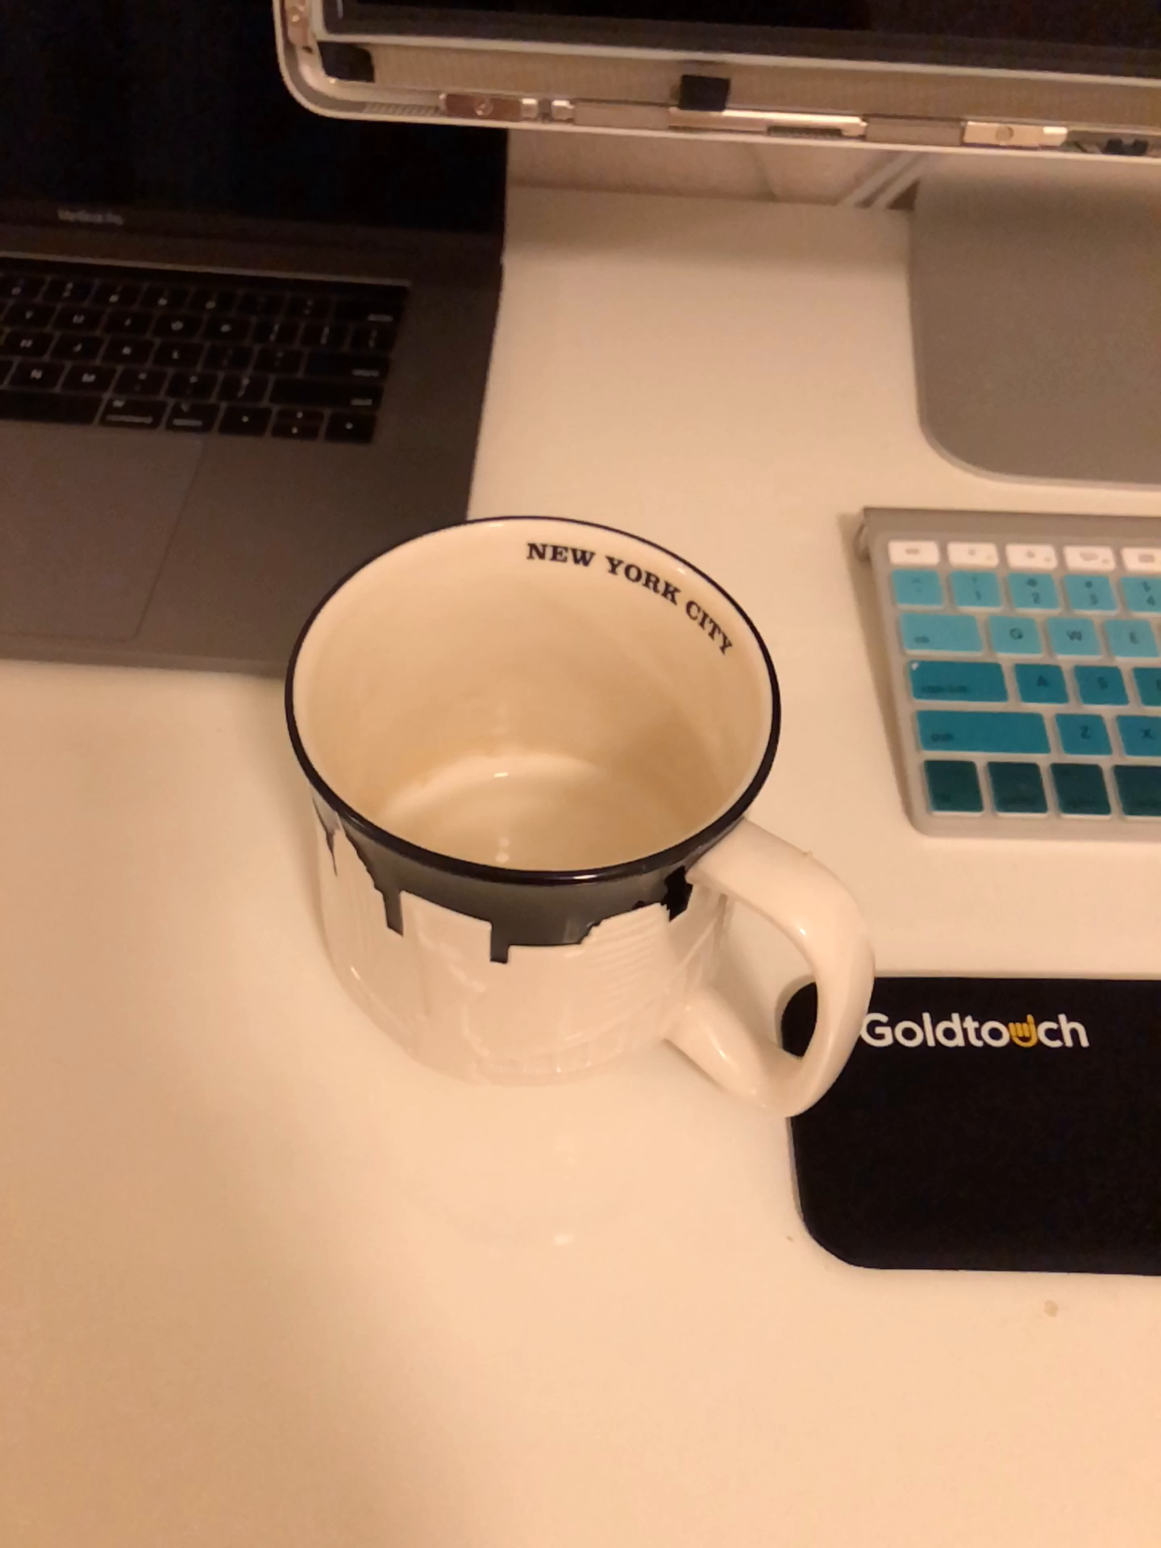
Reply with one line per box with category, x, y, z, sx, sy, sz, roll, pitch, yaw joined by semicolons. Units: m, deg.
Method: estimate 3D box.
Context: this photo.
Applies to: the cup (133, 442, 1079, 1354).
cup;0.002;0.021;0.288;0.150;0.090;0.110;35;58;21
